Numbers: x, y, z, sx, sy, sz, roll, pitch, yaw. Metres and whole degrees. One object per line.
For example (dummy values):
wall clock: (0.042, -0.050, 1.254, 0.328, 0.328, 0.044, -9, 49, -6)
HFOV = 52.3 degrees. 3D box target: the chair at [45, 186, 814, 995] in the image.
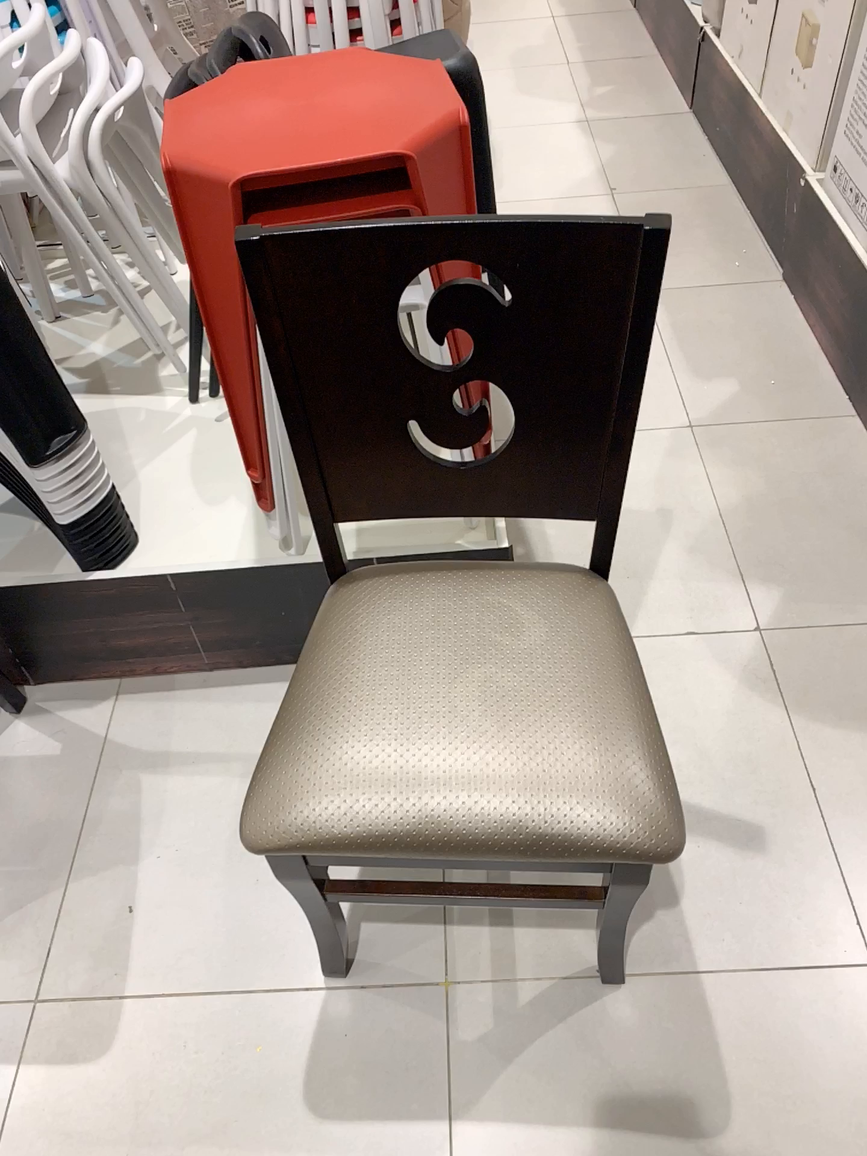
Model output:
chair: (0.017, 0.080, 1.061, 0.500, 0.847, 0.522, -2, 47, 2)
